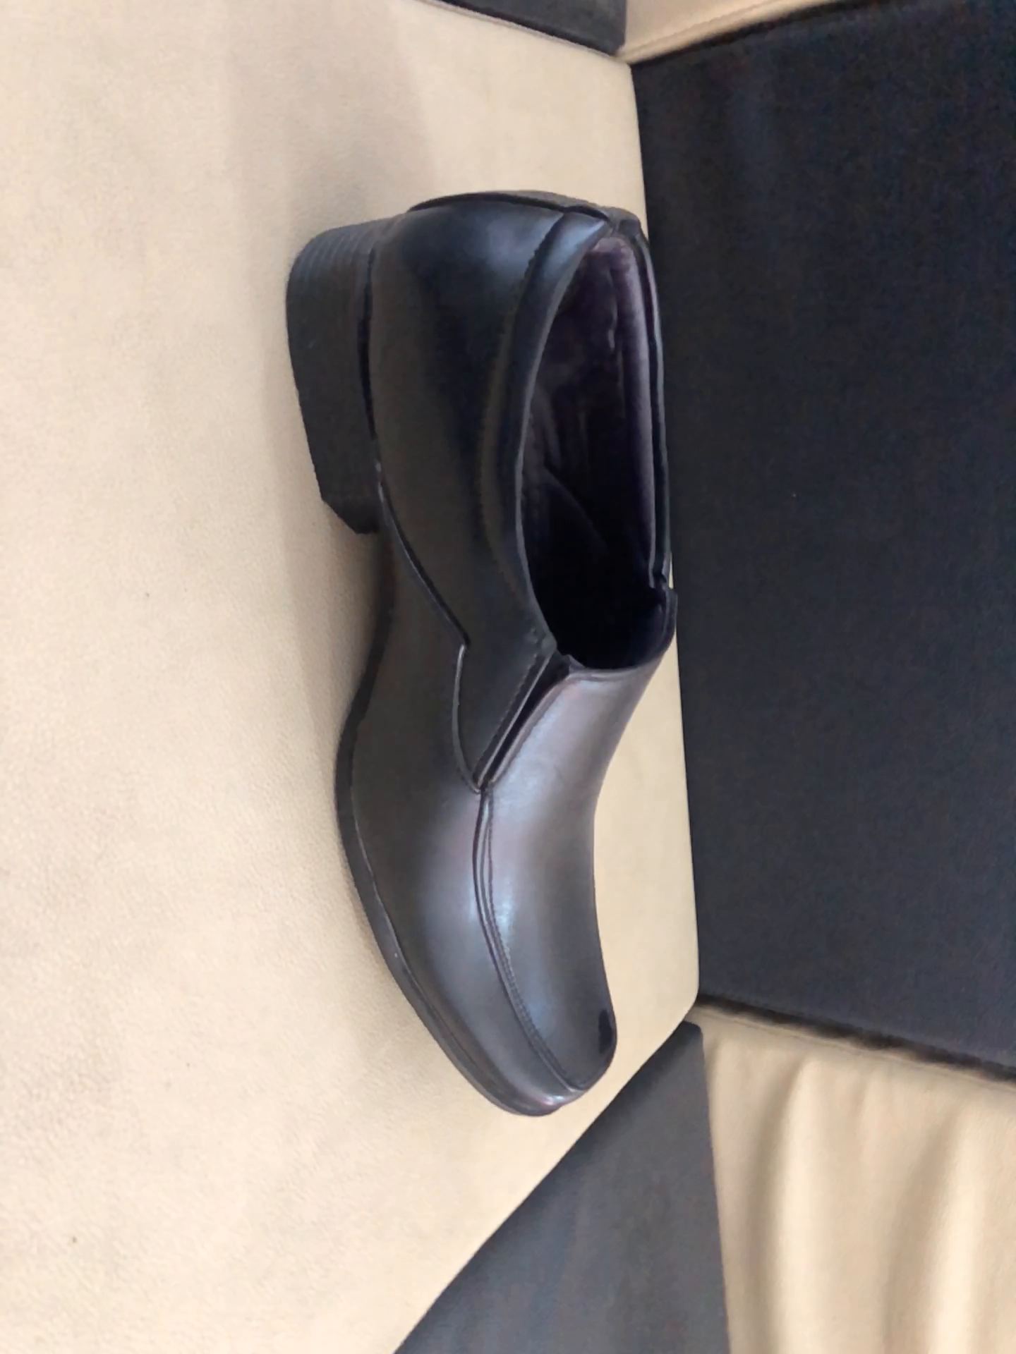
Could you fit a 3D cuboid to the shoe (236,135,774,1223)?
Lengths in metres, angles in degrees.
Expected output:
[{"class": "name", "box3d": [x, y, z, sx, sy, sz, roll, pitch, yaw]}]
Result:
[{"class": "shoe", "box3d": [0.011, 0.002, 0.353, 0.101, 0.089, 0.290, -26, 113, -50]}]
